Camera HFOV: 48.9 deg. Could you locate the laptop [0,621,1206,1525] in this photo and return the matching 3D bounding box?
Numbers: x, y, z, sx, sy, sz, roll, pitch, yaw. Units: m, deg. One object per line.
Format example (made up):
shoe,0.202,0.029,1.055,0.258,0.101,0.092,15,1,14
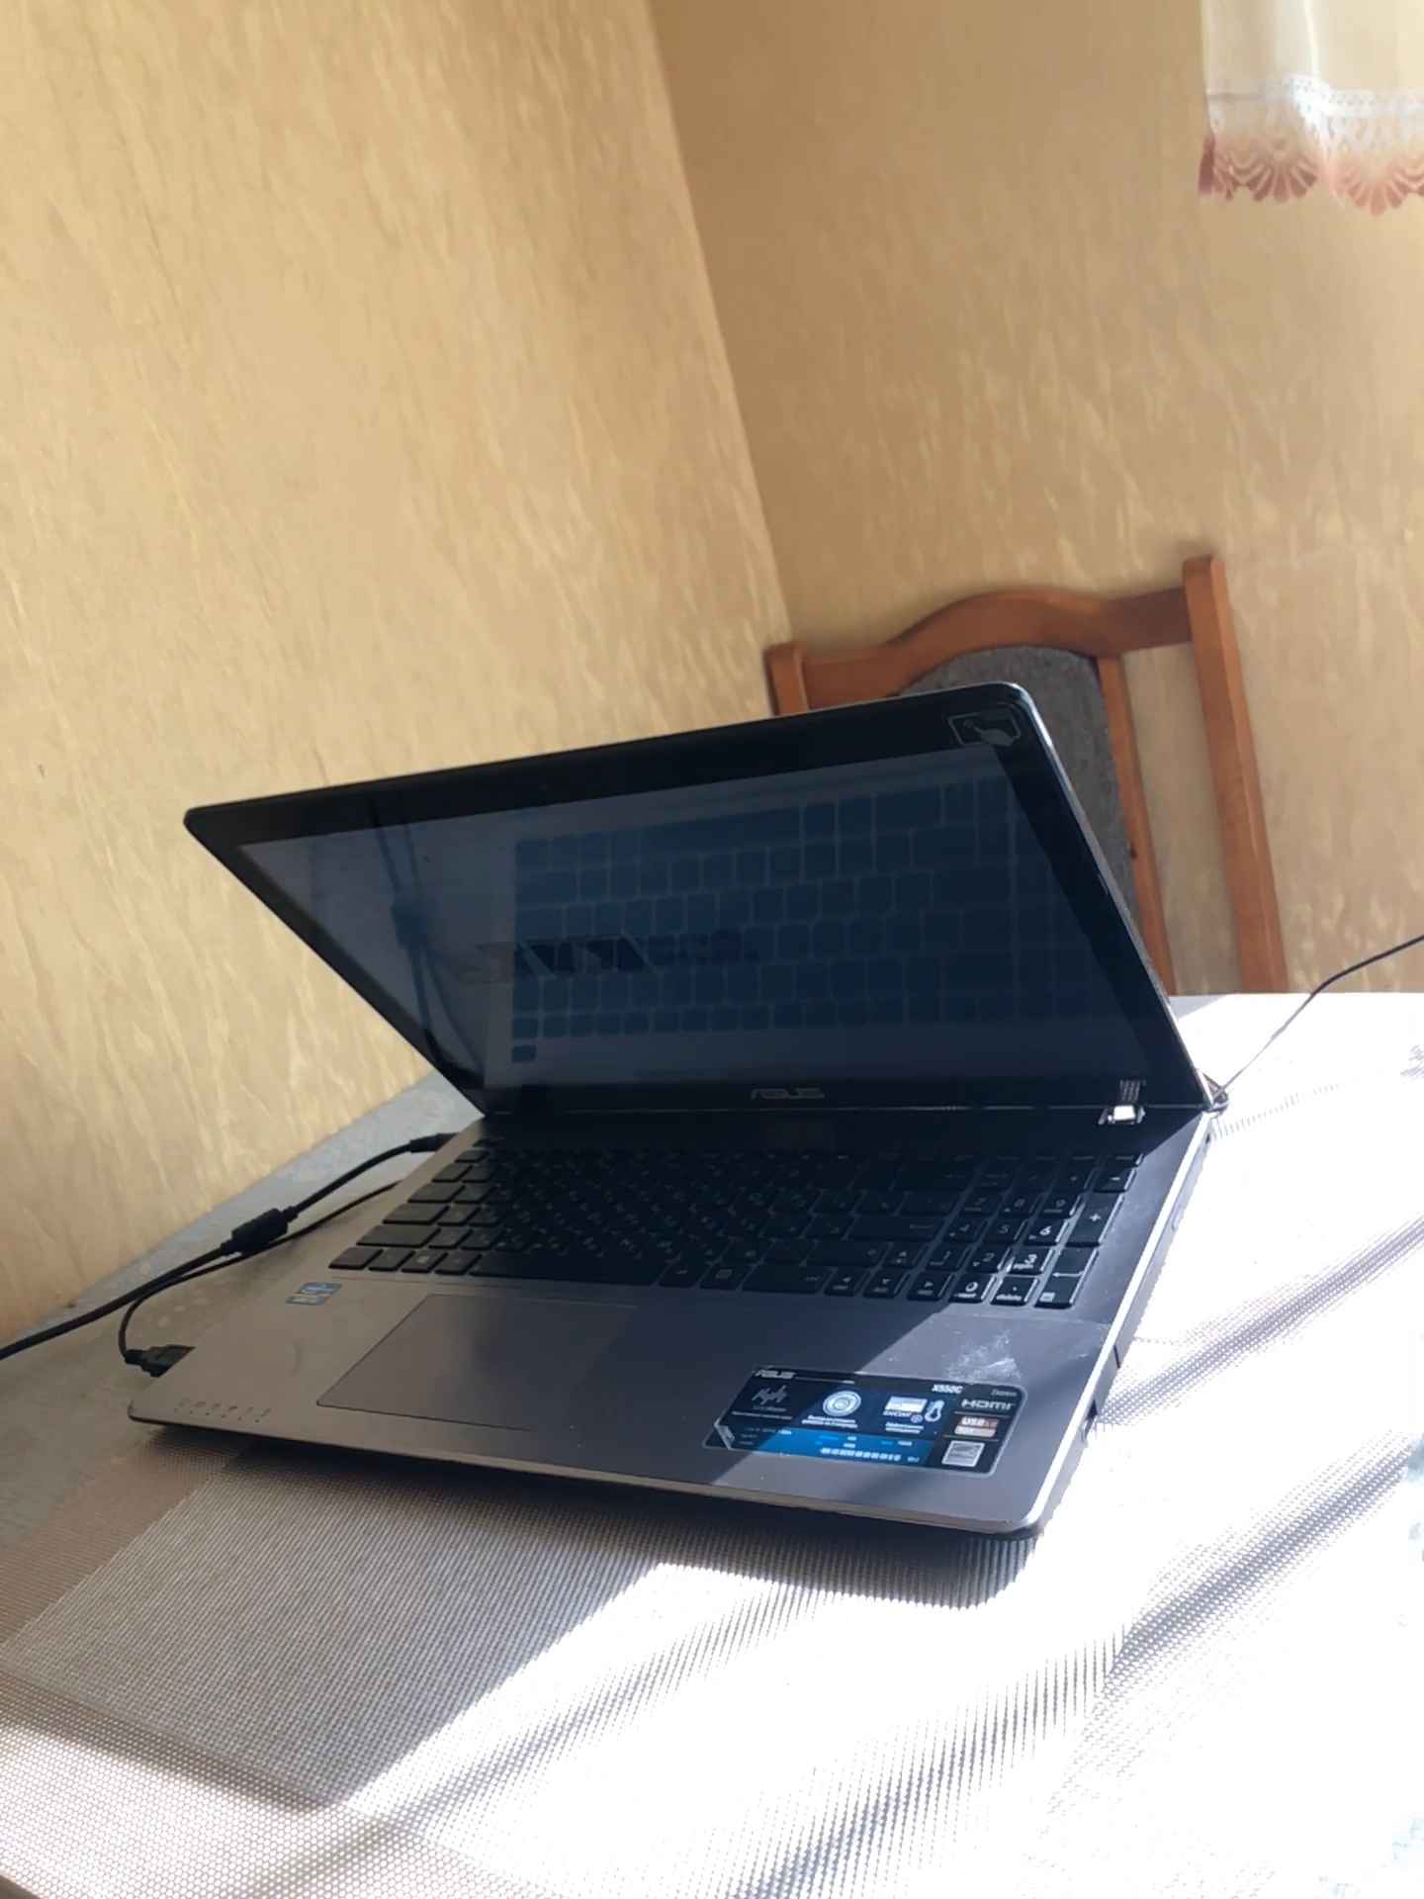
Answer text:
laptop,-0.041,0.030,0.593,0.369,0.196,0.243,-5,19,31
